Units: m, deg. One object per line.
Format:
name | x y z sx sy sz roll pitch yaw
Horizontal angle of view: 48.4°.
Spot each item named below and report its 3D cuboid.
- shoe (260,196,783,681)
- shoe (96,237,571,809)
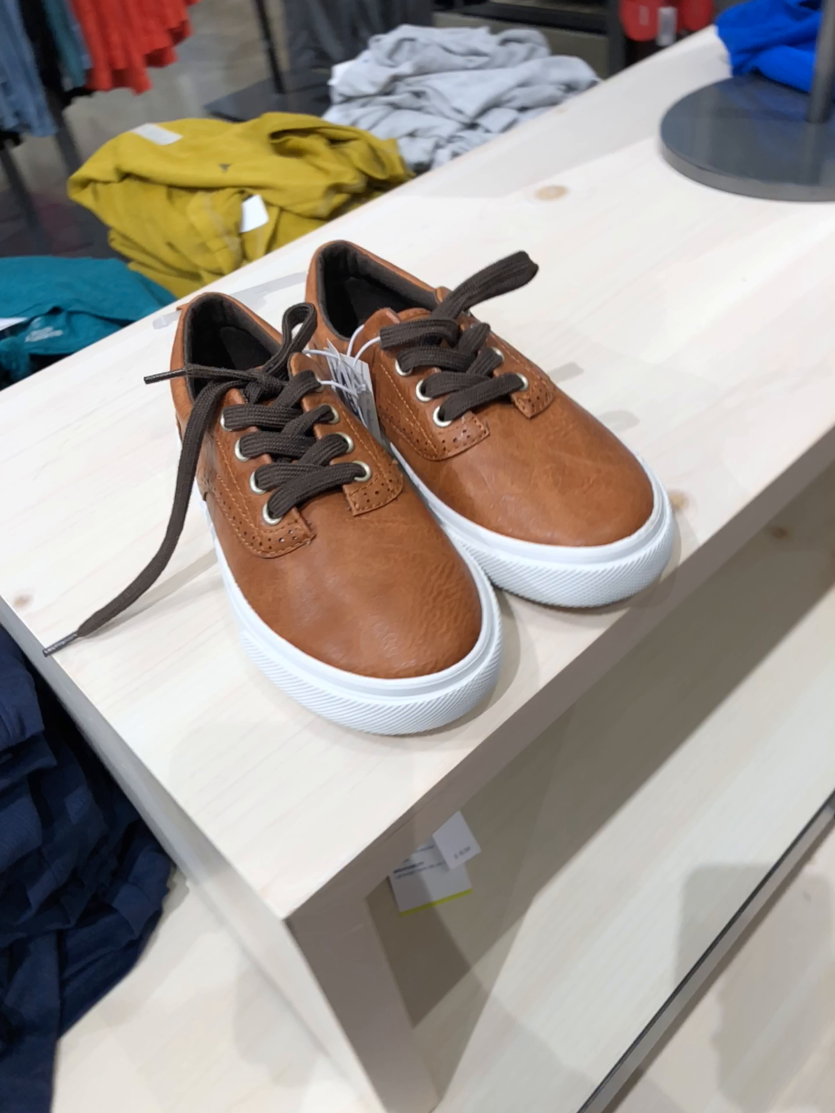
shoe | 0.028 -0.063 0.378 0.090 0.080 0.211 -27 46 -17
shoe | -0.041 -0.030 0.362 0.090 0.090 0.221 -24 45 -15
